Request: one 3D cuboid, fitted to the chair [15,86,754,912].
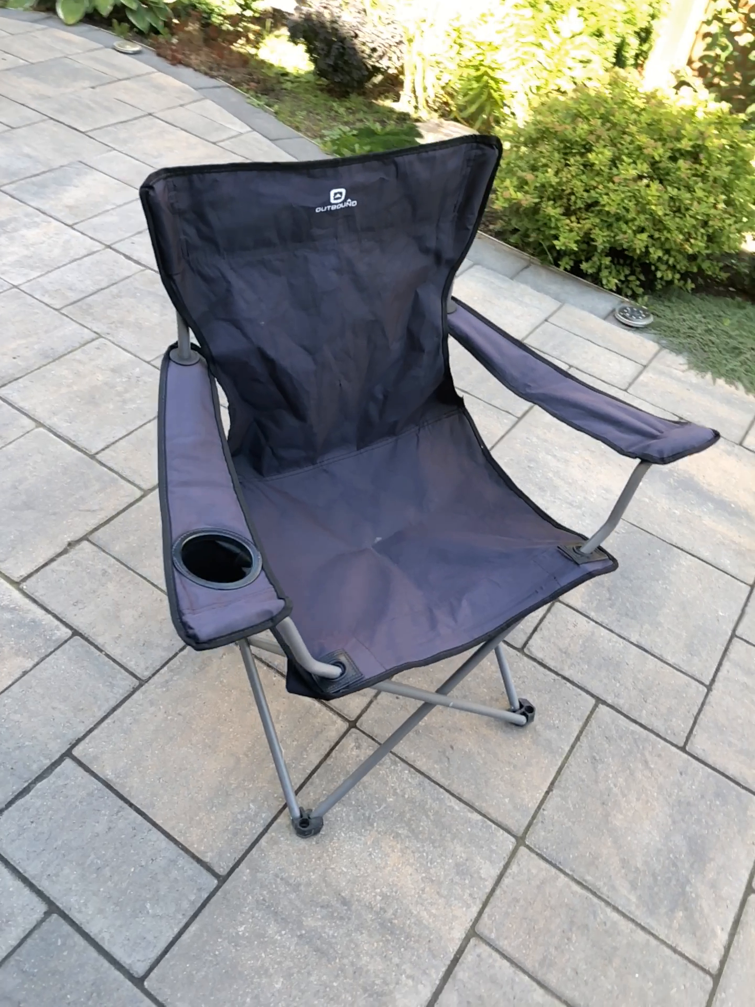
[{"bbox_3d":[0.003,-0.024,1.146,0.691,0.817,0.571,-18,51,-27],"label":"chair"}]
